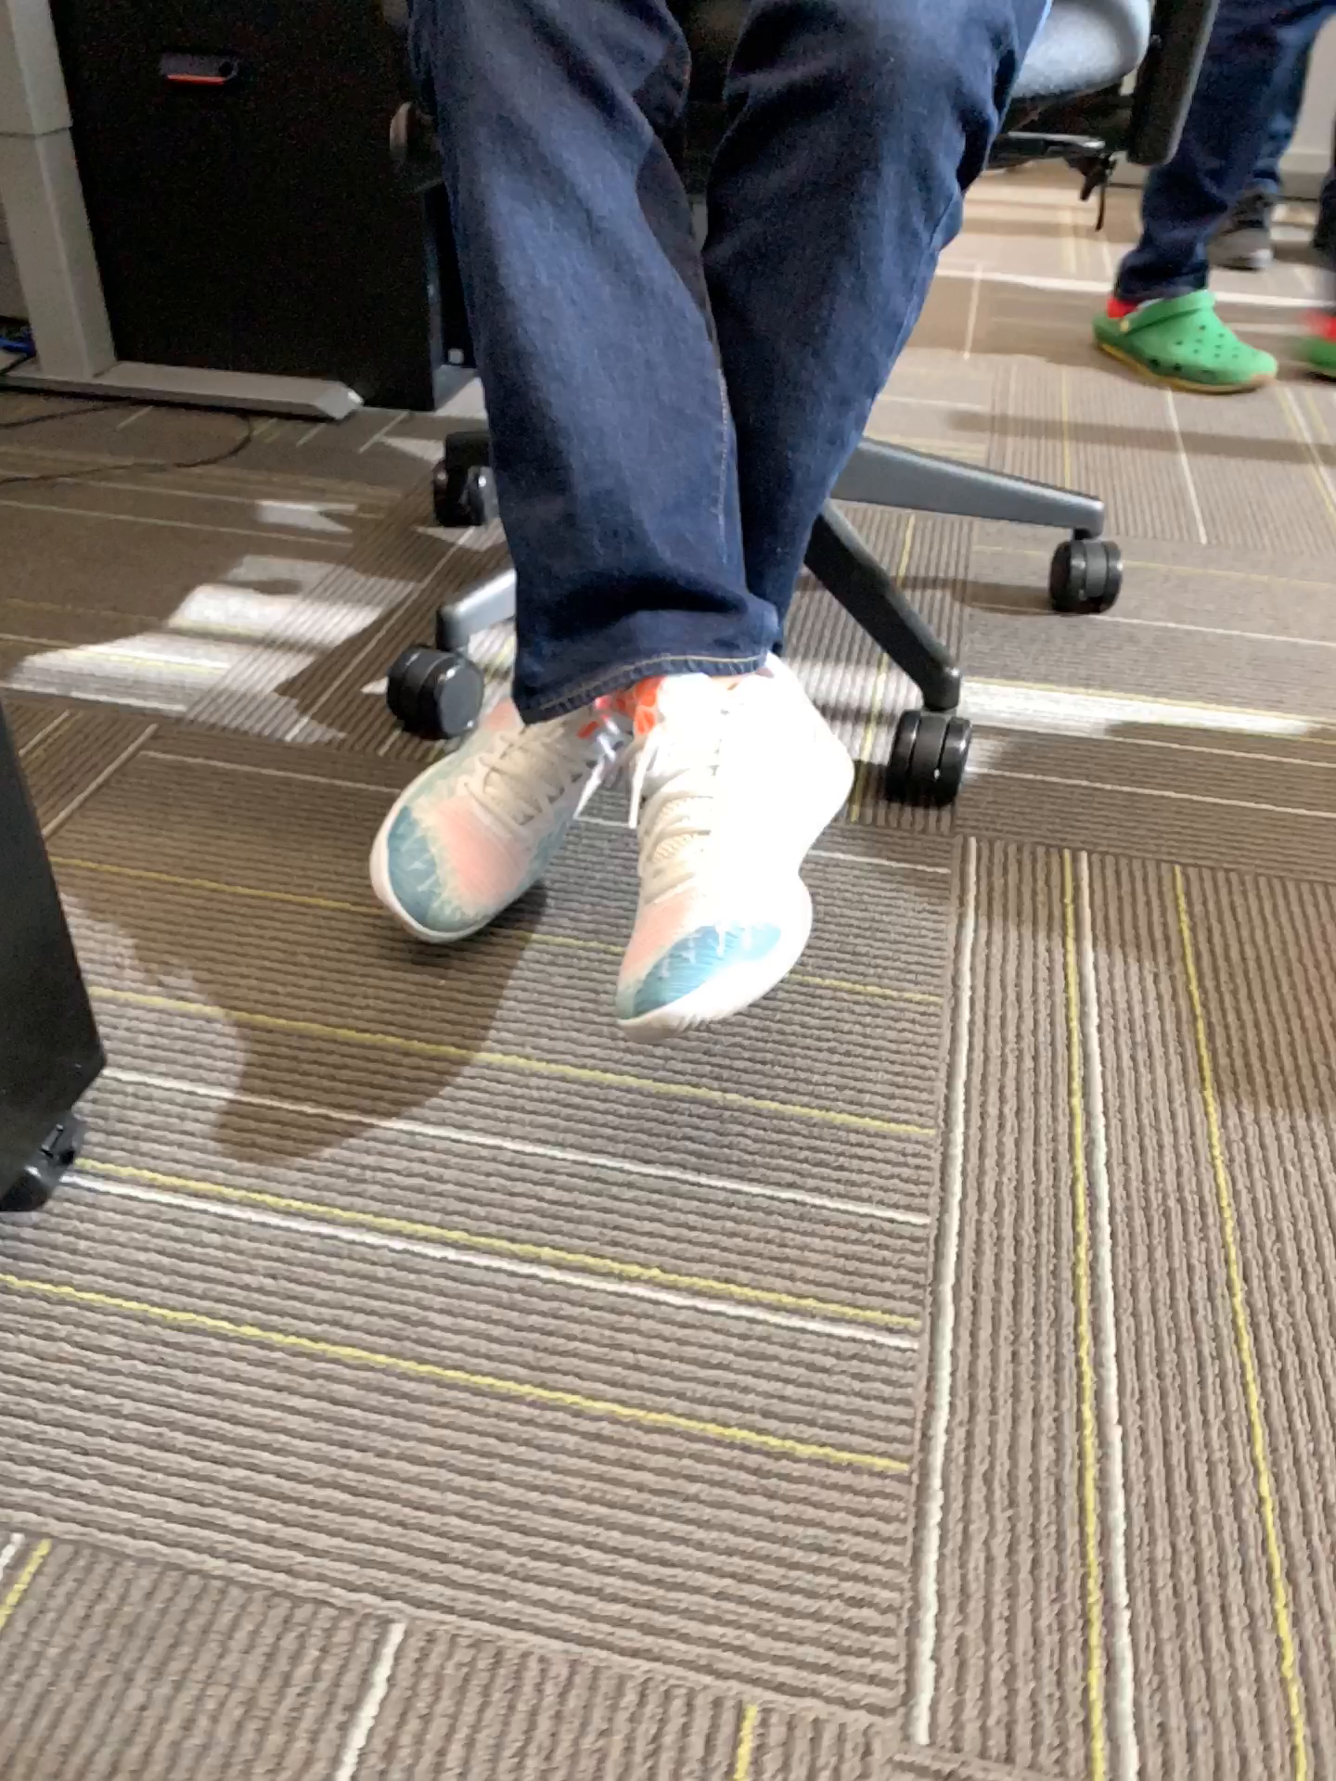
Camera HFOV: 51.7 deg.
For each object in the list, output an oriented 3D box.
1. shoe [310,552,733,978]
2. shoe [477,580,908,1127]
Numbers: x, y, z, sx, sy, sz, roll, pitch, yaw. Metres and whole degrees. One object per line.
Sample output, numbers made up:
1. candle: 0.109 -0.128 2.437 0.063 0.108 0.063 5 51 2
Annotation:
1. shoe: -0.083 -0.092 0.886 0.115 0.108 0.287 38 42 -1
2. shoe: 0.024 -0.028 0.722 0.113 0.108 0.267 40 43 -15
